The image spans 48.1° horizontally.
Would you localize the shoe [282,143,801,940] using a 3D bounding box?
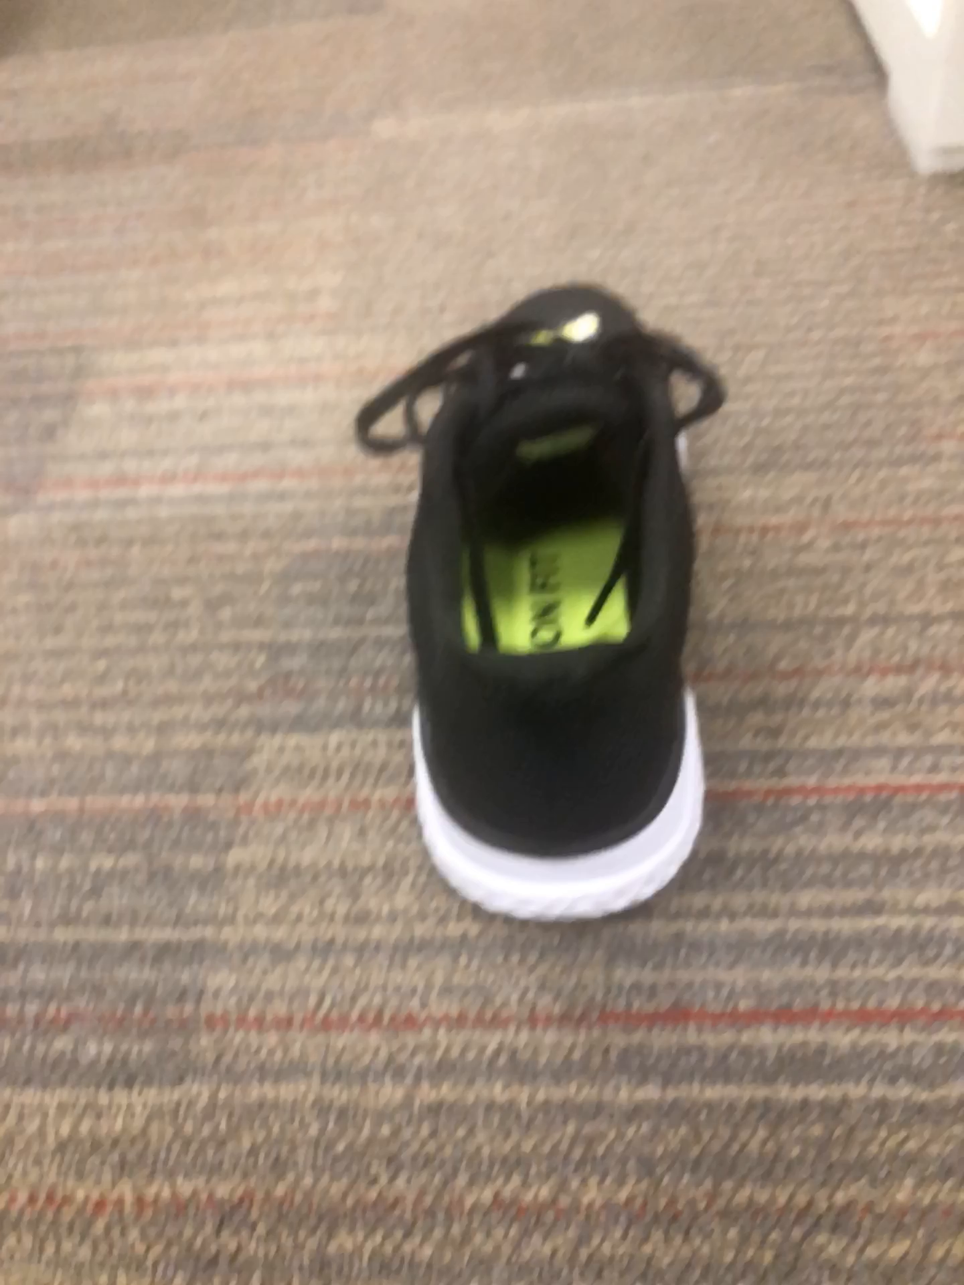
[{"bbox_3d":[0.027,-0.055,0.382,0.120,0.100,0.291,0,50,7],"label":"shoe"}]
